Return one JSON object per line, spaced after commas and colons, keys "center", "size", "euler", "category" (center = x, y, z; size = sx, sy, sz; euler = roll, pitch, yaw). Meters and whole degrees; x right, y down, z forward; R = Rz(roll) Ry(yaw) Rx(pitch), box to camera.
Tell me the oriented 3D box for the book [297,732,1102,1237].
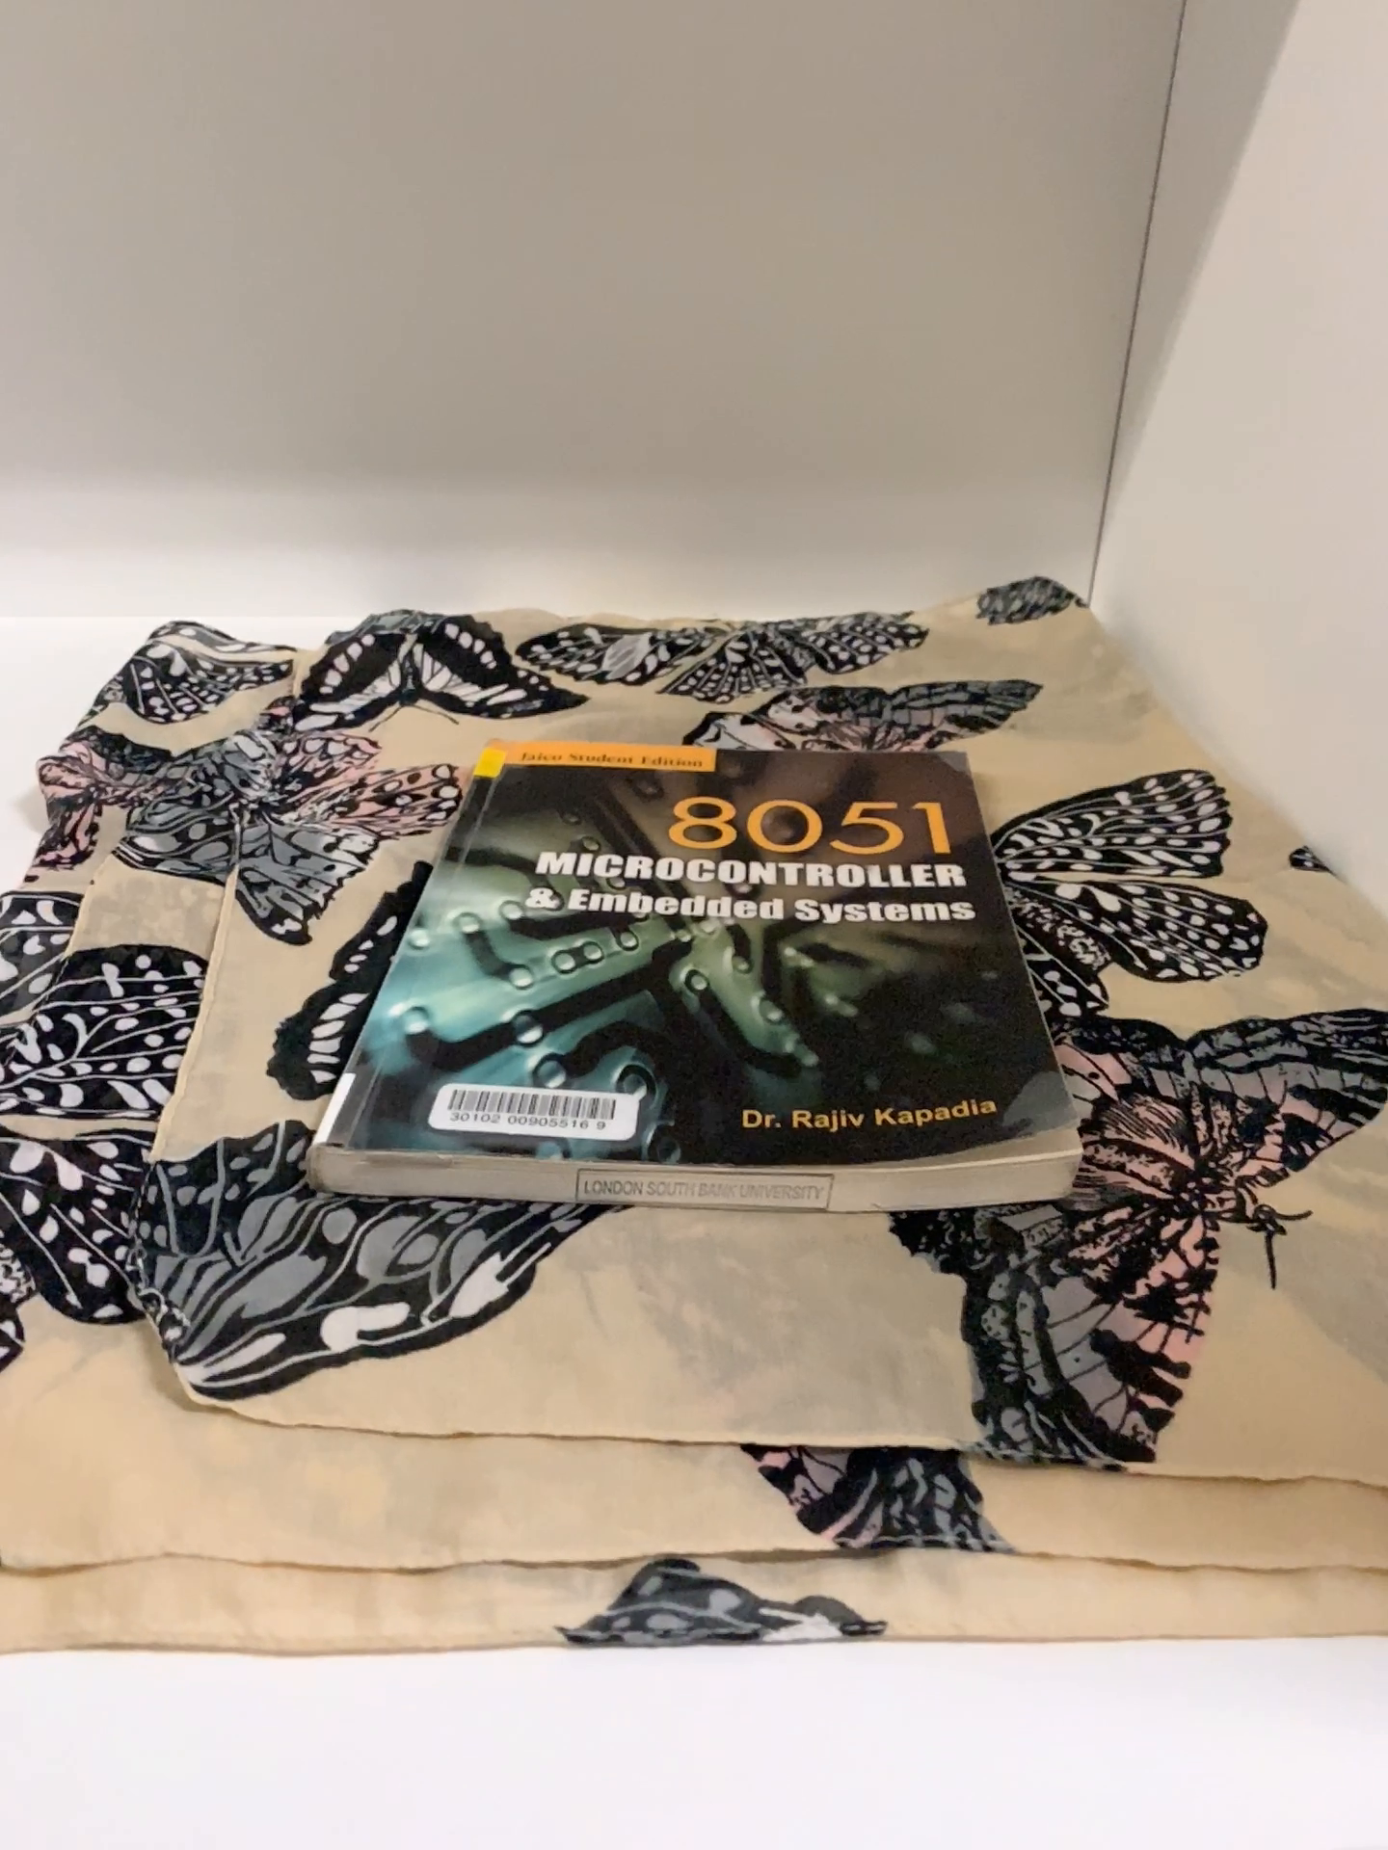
{"center": [0.006, 0.000, 0.432], "size": [0.183, 0.020, 0.237], "euler": [2, 30, 2], "category": "book"}
